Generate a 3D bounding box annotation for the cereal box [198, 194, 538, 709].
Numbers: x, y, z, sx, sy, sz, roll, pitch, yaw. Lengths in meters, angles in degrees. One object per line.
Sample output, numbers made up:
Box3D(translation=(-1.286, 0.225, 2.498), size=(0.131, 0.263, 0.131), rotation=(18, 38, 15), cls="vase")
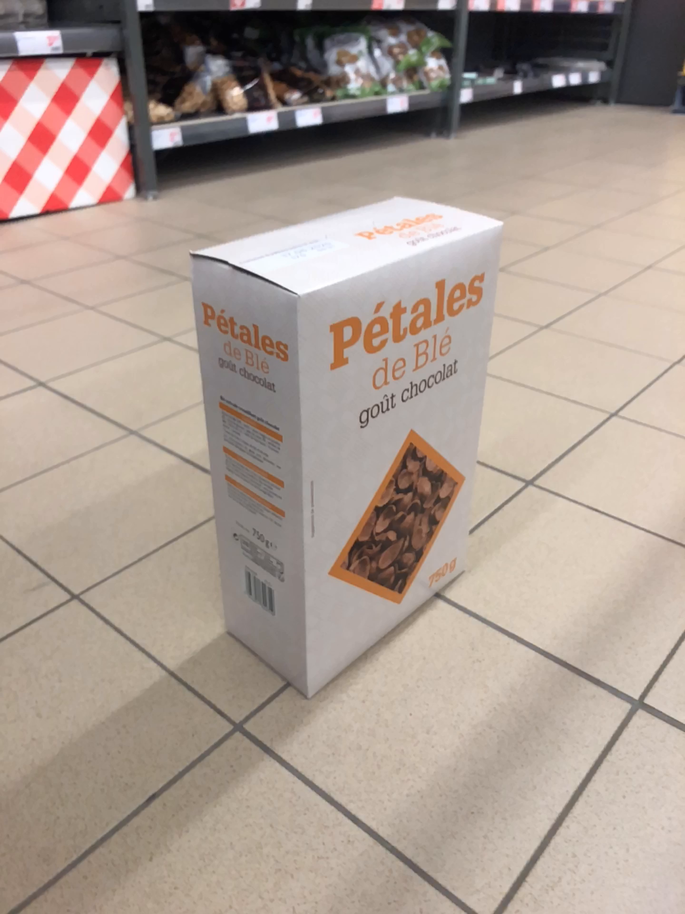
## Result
Box3D(translation=(0.021, -0.010, 0.521), size=(0.100, 0.288, 0.191), rotation=(26, 38, 36), cls="cereal box")
